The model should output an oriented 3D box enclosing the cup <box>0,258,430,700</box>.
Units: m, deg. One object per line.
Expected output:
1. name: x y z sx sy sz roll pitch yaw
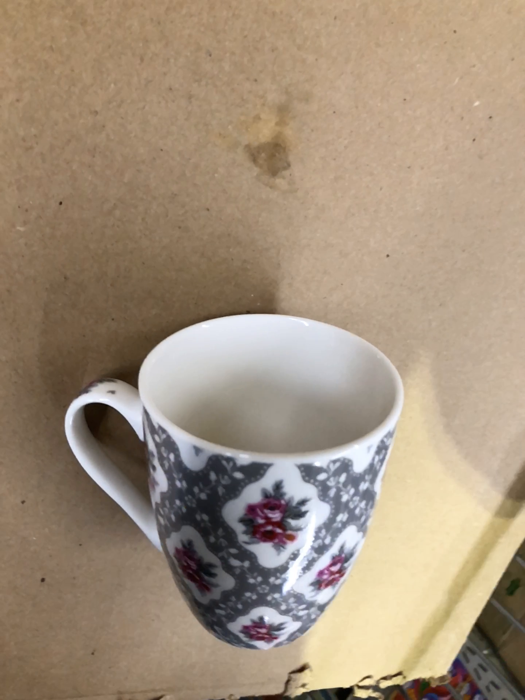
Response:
1. cup: -0.009 0.042 0.184 0.100 0.080 0.110 9 119 10
